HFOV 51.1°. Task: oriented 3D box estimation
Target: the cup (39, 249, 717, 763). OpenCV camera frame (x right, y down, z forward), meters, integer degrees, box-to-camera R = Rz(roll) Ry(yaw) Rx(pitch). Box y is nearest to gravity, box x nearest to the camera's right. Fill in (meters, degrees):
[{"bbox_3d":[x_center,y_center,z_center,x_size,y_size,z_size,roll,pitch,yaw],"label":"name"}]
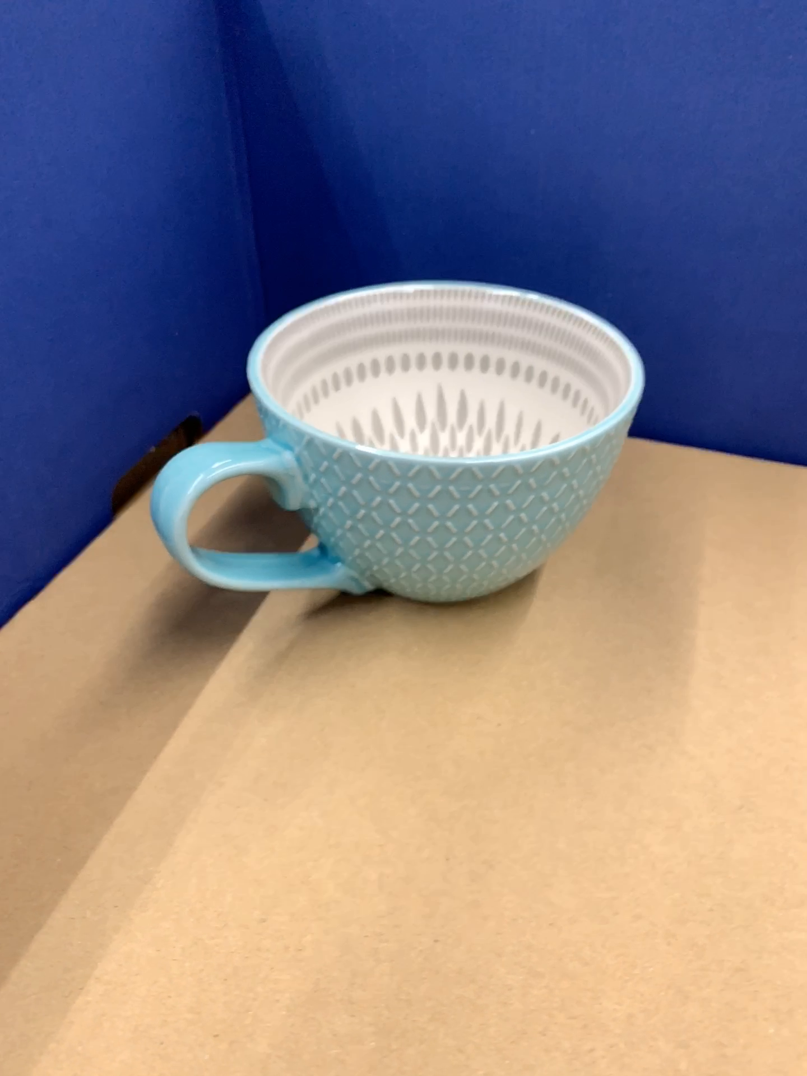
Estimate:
[{"bbox_3d":[-0.008,-0.025,0.254,0.152,0.059,0.113,-22,45,-27],"label":"cup"}]
